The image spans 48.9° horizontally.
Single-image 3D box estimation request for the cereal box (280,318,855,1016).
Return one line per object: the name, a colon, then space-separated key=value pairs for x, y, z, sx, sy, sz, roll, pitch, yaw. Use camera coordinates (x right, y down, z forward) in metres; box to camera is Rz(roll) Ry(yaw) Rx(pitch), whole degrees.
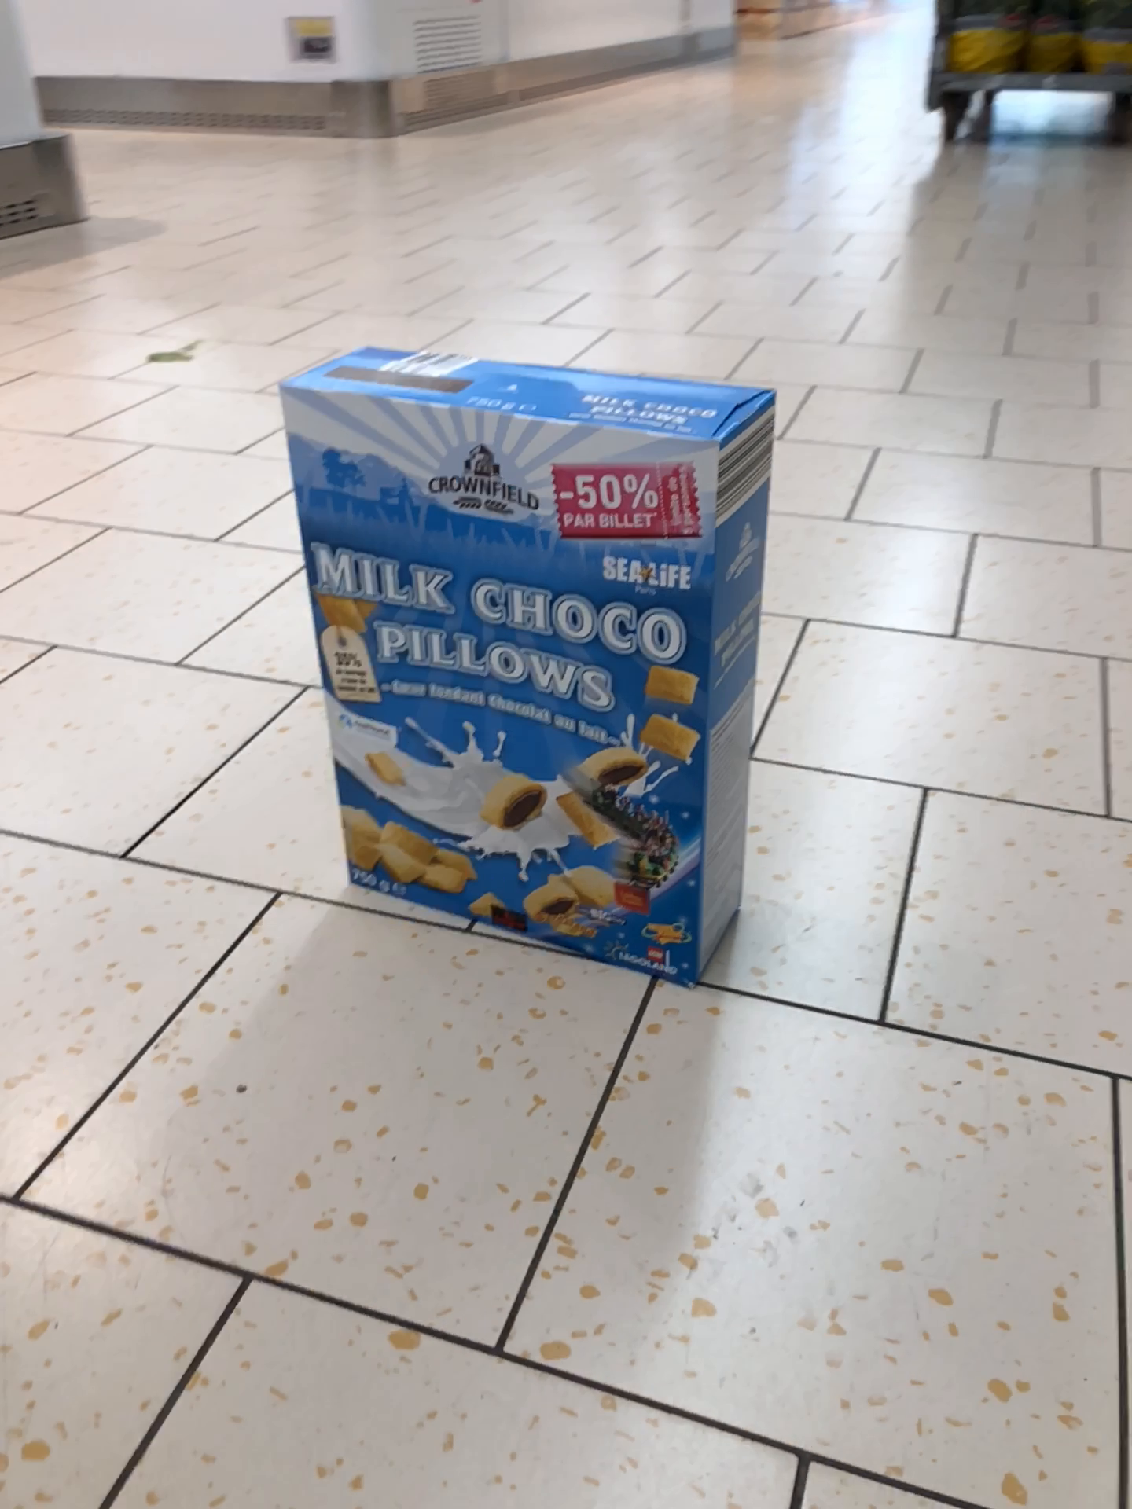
cereal box: x=0.000 y=-0.041 z=0.548 sx=0.210 sy=0.258 sz=0.081 roll=15 pitch=34 yaw=24
